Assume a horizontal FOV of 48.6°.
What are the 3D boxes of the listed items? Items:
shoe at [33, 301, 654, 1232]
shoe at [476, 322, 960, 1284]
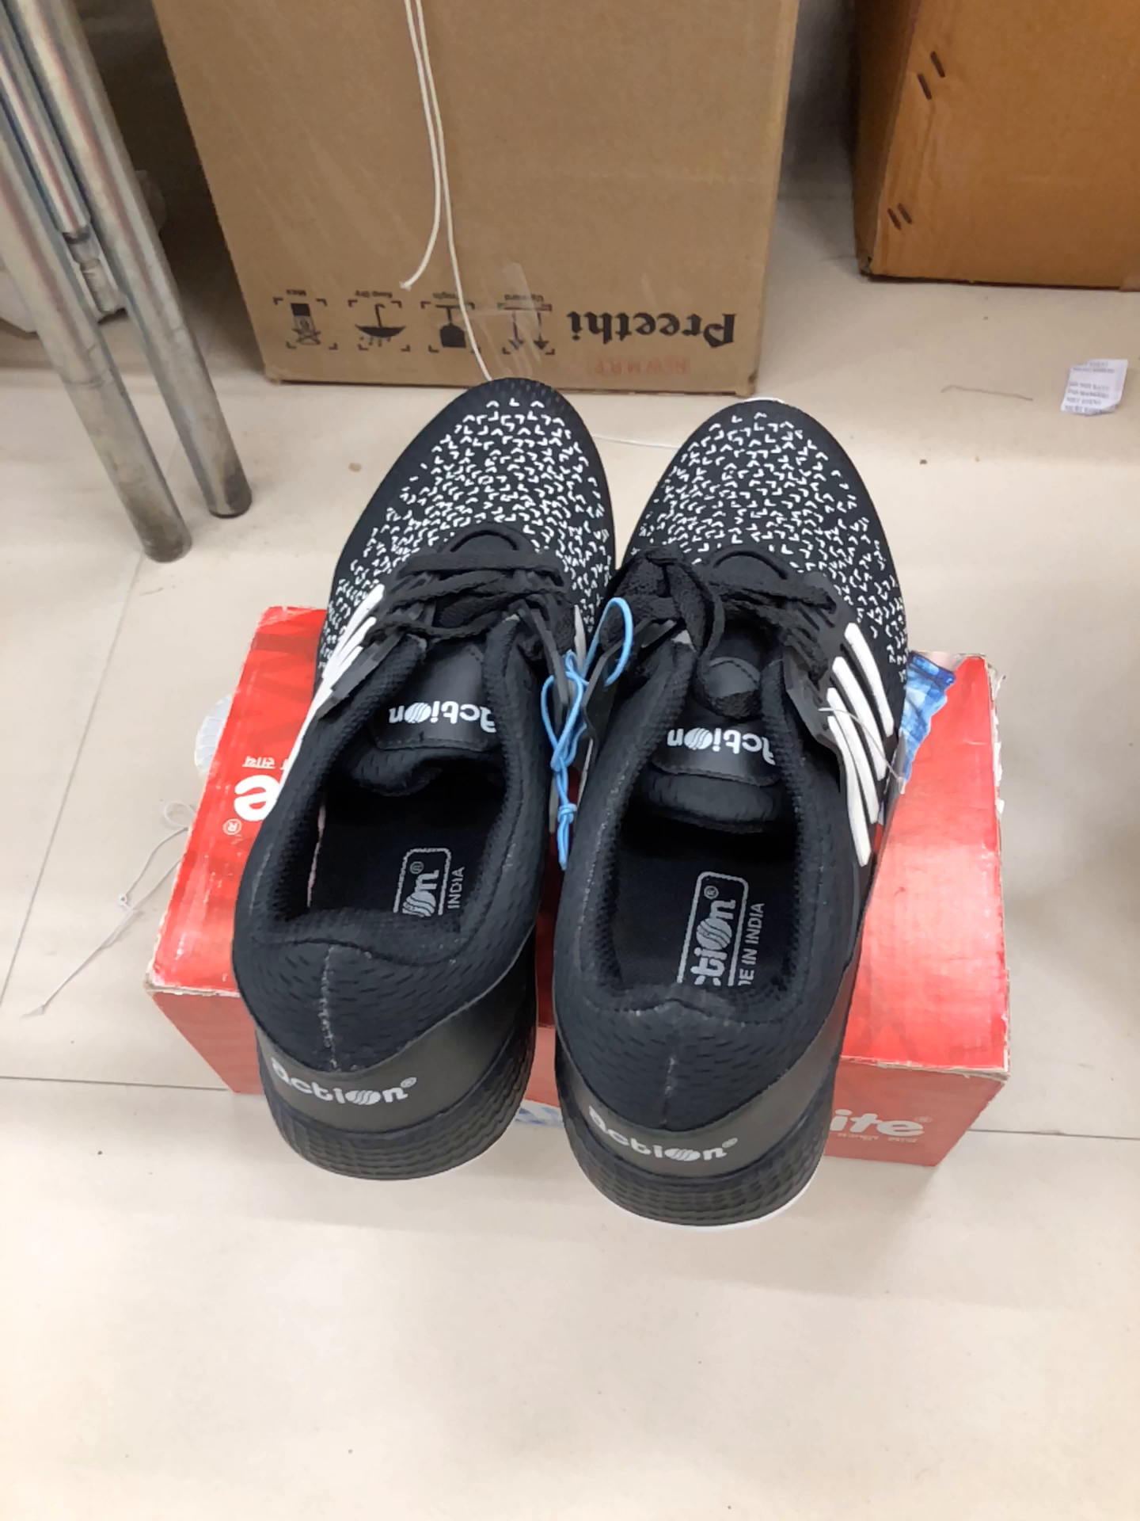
[{"bbox_3d":[-0.046,-0.010,0.395,0.111,0.102,0.268,6,59,7],"label":"shoe"},{"bbox_3d":[0.054,0.001,0.385,0.101,0.102,0.268,7,59,7],"label":"shoe"}]
